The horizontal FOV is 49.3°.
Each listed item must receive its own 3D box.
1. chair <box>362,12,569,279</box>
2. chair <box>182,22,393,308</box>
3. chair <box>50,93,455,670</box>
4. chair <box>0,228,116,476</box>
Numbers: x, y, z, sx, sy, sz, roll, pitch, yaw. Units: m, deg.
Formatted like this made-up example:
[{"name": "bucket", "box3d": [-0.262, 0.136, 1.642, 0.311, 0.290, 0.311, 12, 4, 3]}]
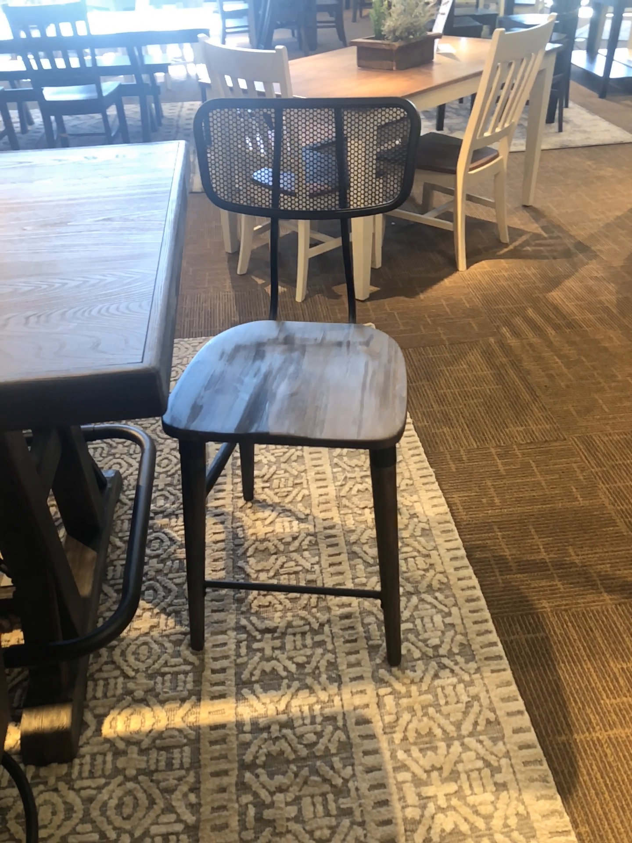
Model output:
[{"name": "chair", "box3d": [0.577, -1.140, 2.810, 0.520, 0.846, 0.586, 26, 44, 33]}, {"name": "chair", "box3d": [-0.091, -0.998, 2.651, 0.556, 0.866, 0.491, 29, 46, 35]}, {"name": "chair", "box3d": [-0.043, -0.075, 1.372, 0.507, 0.947, 0.607, 2, 36, 5]}, {"name": "chair", "box3d": [-0.991, -0.210, 1.957, 0.634, 0.488, 0.522, -1, 36, 1]}]
